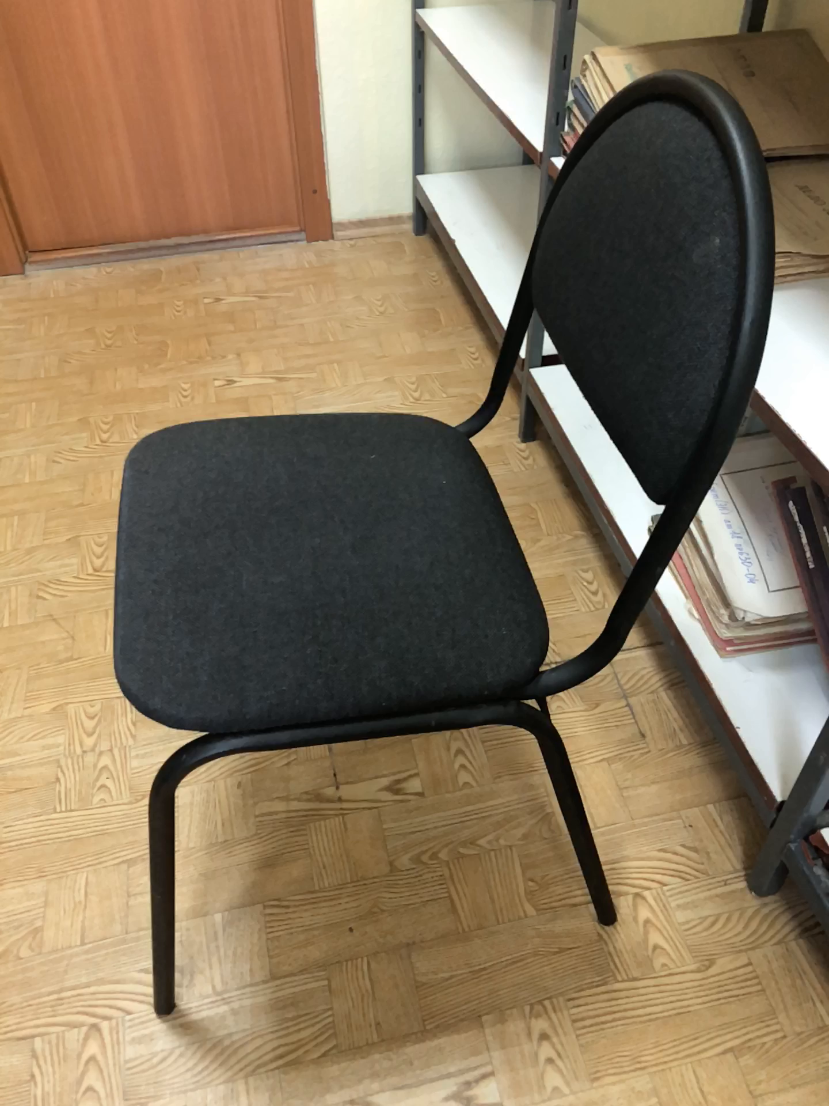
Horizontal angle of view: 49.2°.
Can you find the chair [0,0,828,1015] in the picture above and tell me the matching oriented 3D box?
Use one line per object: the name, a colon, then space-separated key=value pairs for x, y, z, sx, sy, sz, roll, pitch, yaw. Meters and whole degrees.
chair: x=-0.060 y=-0.004 z=0.903 sx=0.560 sy=0.835 sz=0.475 roll=-8 pitch=43 yaw=-7
